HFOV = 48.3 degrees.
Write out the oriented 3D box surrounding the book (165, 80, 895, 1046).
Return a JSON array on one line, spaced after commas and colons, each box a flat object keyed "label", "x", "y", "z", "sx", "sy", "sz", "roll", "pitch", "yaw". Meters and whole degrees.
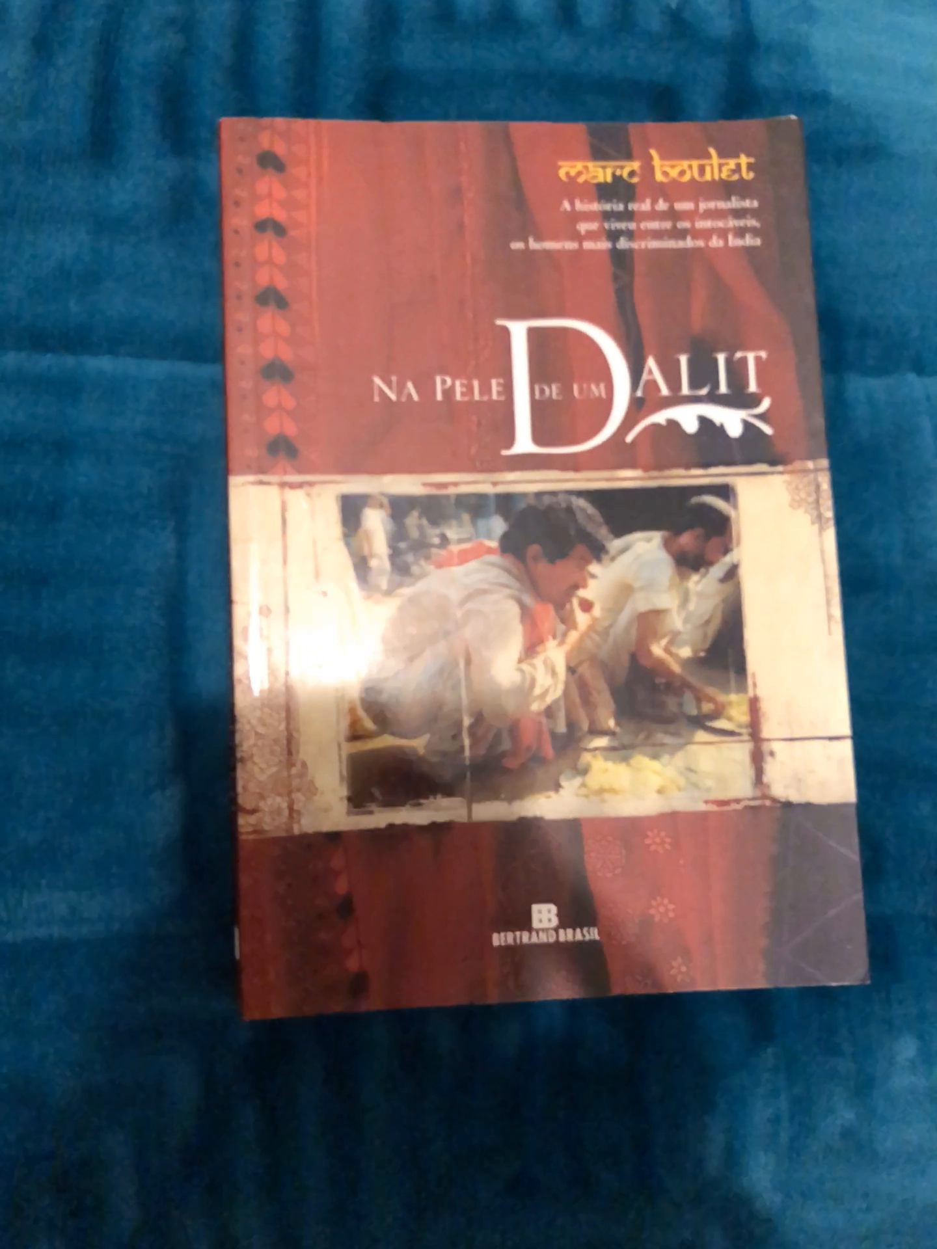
[{"label": "book", "x": 0.012, "y": -0.019, "z": 0.257, "sx": 0.160, "sy": 0.030, "sz": 0.220, "roll": -2, "pitch": 85, "yaw": -3}]
